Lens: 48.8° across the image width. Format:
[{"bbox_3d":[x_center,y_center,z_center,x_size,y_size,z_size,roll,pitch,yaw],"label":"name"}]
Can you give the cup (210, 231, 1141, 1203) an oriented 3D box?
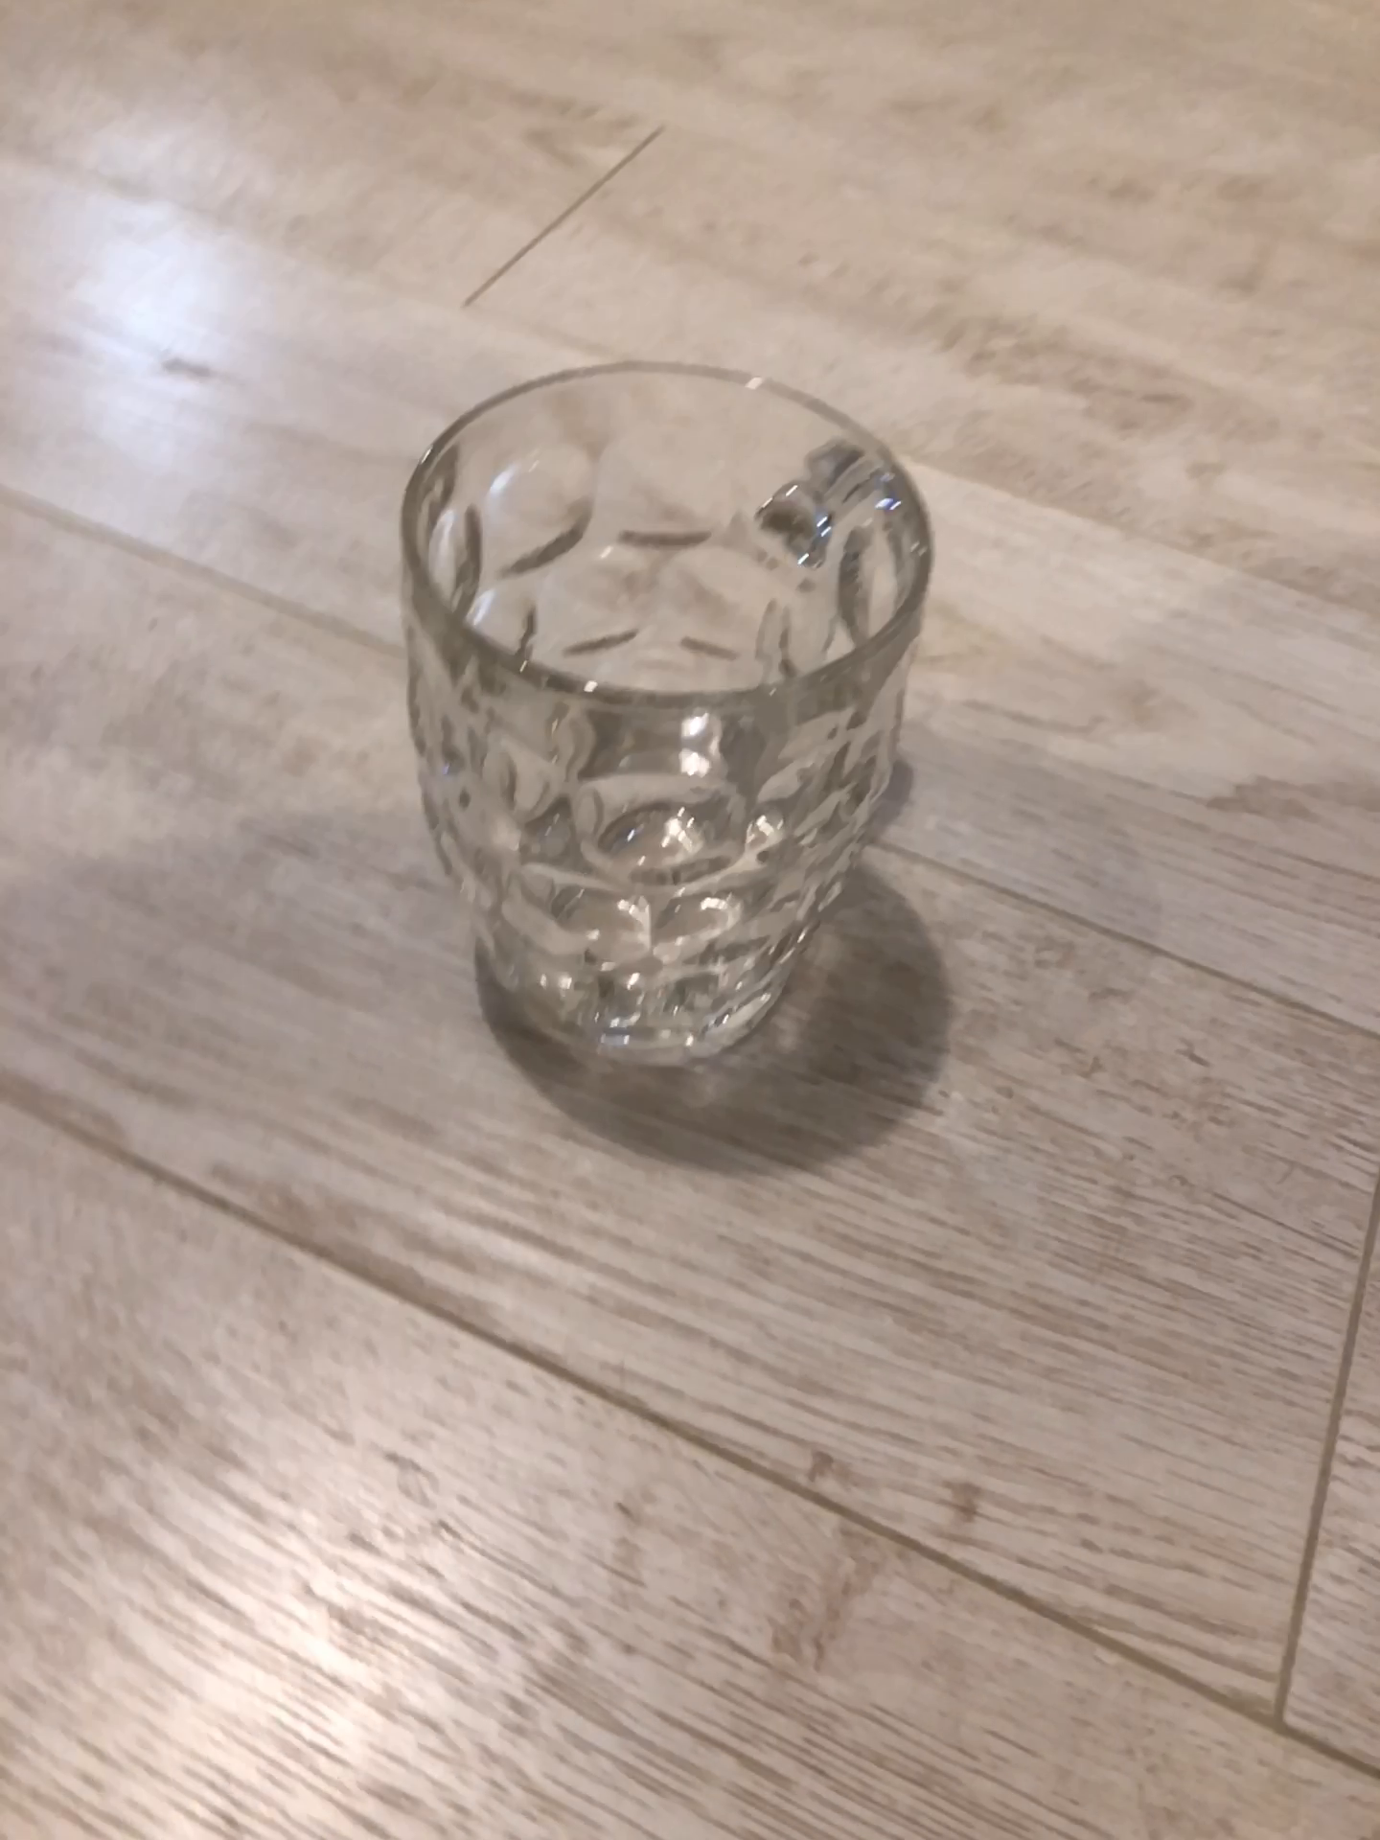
[{"bbox_3d":[0.000,-0.045,0.313,0.100,0.109,0.141,34,57,20],"label":"cup"}]
